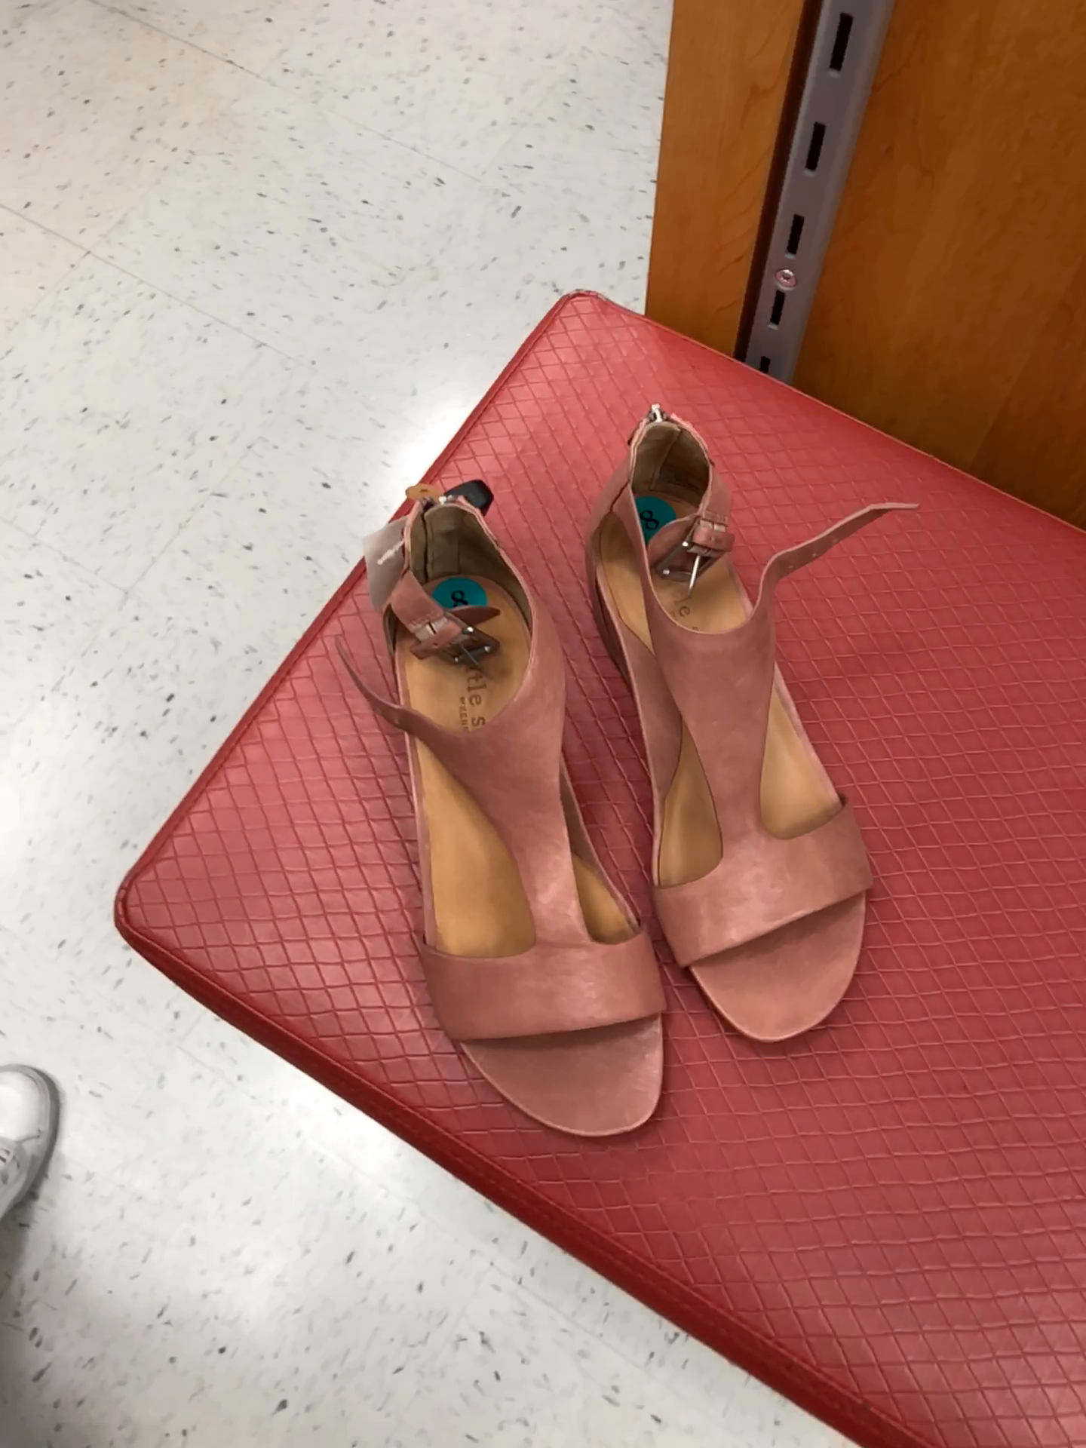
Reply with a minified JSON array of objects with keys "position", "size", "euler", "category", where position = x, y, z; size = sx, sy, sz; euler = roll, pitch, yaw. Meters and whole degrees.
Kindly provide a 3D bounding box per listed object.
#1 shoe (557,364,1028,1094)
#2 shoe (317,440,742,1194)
[{"position":[0.084,0.004,0.492],"size":[0.105,0.116,0.261],"euler":[-11,69,-3],"category":"shoe"},{"position":[-0.011,0.040,0.484],"size":[0.103,0.126,0.263],"euler":[-11,69,-3],"category":"shoe"}]
